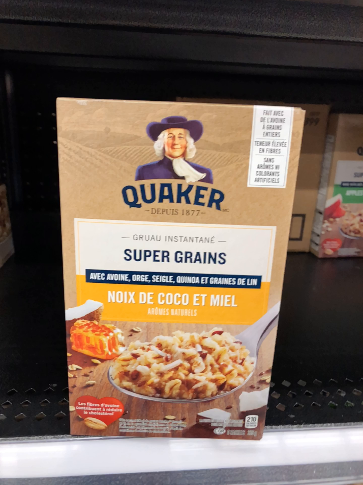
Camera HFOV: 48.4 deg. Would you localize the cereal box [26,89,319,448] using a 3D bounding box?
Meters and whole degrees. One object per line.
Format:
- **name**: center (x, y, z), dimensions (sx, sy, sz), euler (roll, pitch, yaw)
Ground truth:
- **cereal box**: center (-0.008, 0.019, 0.240), dimensions (0.130, 0.199, 0.060), euler (2, 19, -2)
